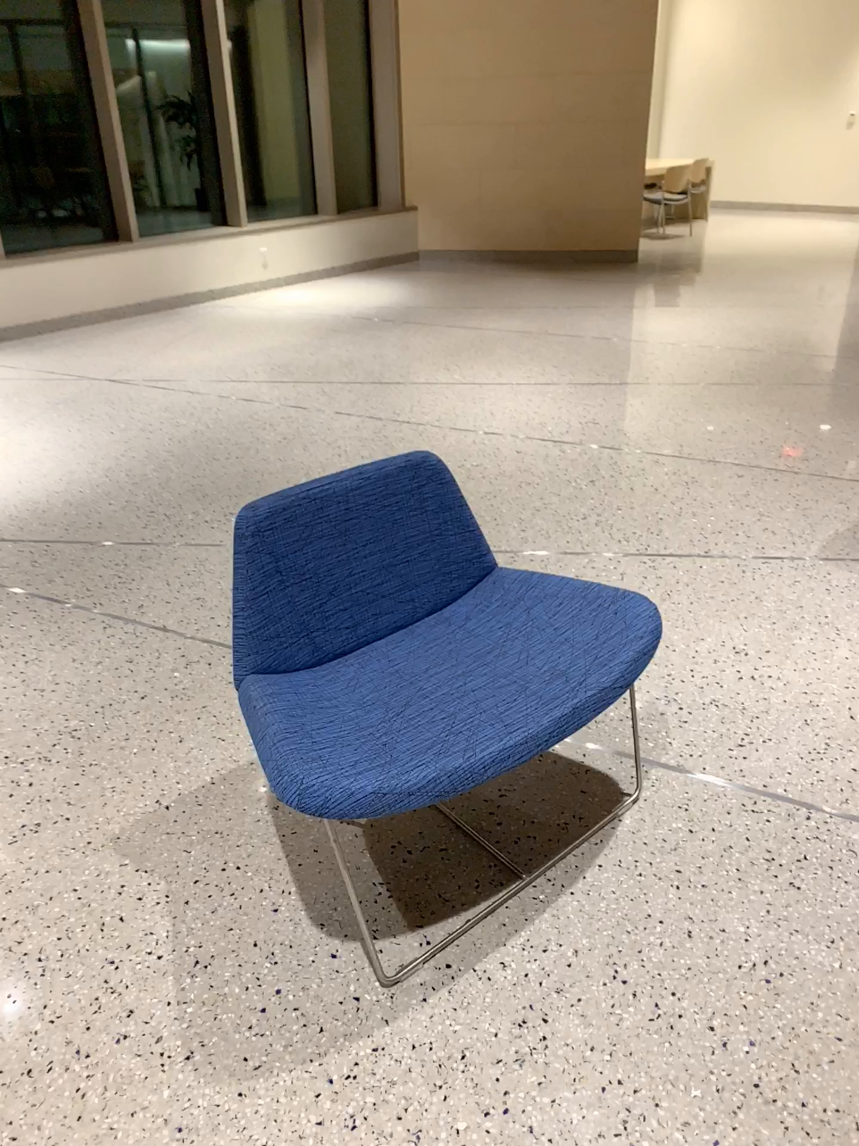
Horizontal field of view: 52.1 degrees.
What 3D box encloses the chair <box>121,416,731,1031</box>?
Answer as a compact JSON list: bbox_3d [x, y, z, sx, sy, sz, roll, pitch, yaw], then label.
[{"bbox_3d":[0.019,0.188,1.804,0.944,0.699,0.664,-23,34,-35],"label":"chair"}]
